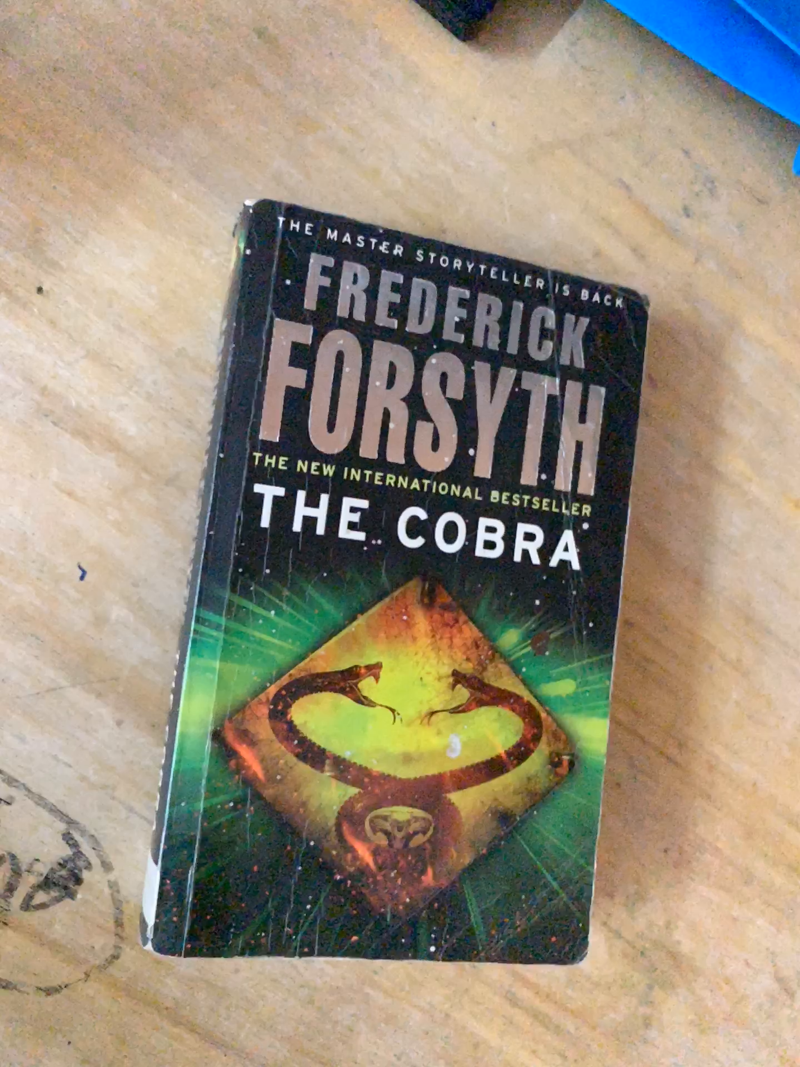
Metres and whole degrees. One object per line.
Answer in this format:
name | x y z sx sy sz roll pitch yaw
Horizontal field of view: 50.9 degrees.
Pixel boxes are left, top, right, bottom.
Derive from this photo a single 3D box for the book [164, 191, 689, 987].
book | 0.006 0.016 0.201 0.100 0.040 0.160 8 86 -15
